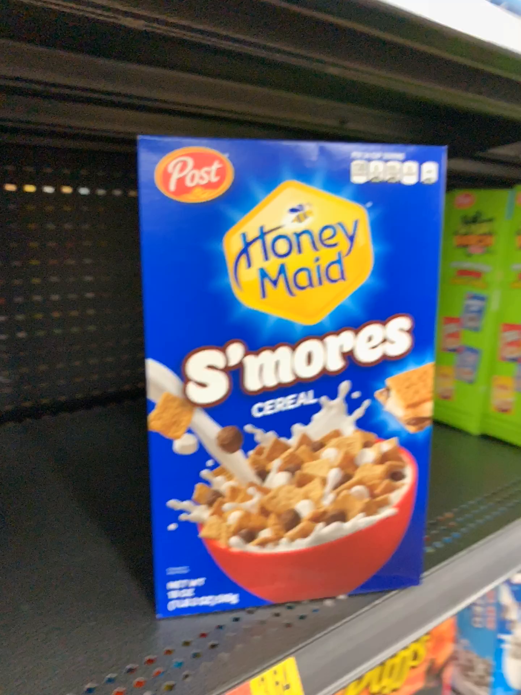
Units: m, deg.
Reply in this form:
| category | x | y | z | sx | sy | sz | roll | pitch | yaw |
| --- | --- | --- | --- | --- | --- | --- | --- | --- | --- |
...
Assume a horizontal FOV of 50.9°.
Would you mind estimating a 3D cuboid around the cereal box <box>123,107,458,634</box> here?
| category | x | y | z | sx | sy | sz | roll | pitch | yaw |
| --- | --- | --- | --- | --- | --- | --- | --- | --- | --- |
| cereal box | 0.015 | 0.017 | 0.378 | 0.200 | 0.319 | 0.070 | -2 | 10 | -12 |
